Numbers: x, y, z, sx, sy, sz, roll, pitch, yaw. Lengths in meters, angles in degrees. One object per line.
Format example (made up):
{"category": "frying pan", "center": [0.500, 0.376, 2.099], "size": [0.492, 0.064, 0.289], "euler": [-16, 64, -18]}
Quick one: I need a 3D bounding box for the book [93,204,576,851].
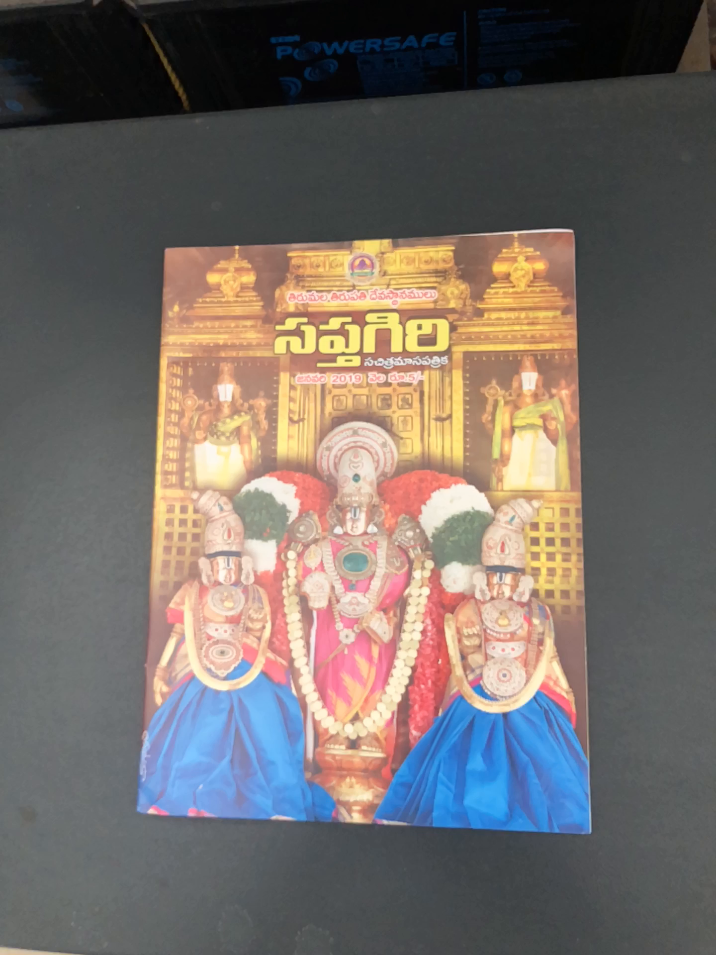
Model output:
{"category": "book", "center": [-0.011, 0.016, 0.359], "size": [0.200, 0.030, 0.270], "euler": [-1, 81, 8]}
